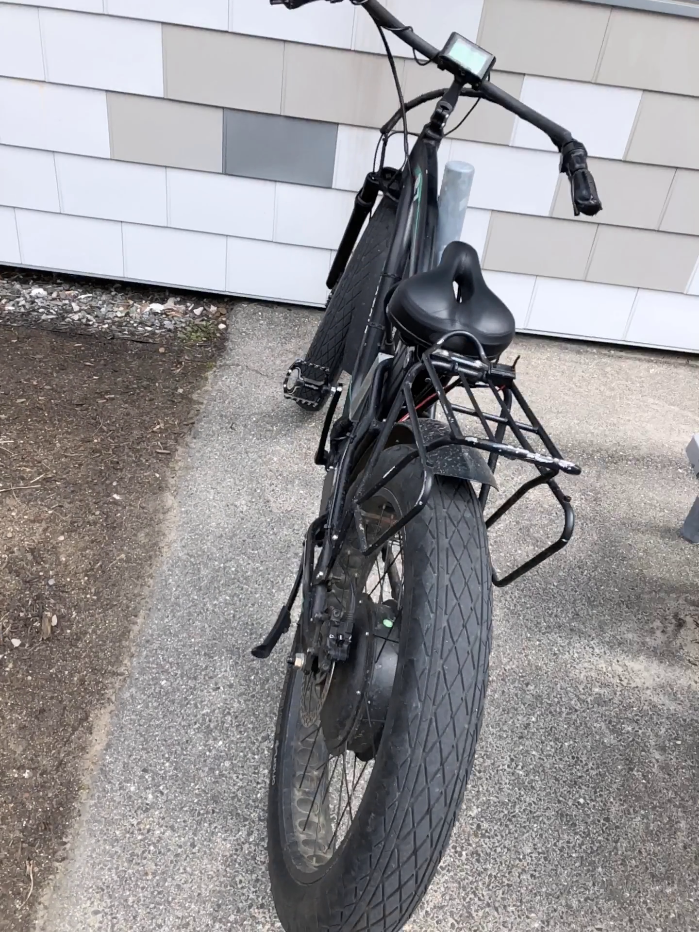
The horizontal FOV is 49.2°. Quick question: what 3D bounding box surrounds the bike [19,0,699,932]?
[{"bbox_3d":[0.243,-0.293,1.649,0.877,1.170,2.127,7,40,-2],"label":"bike"}]
